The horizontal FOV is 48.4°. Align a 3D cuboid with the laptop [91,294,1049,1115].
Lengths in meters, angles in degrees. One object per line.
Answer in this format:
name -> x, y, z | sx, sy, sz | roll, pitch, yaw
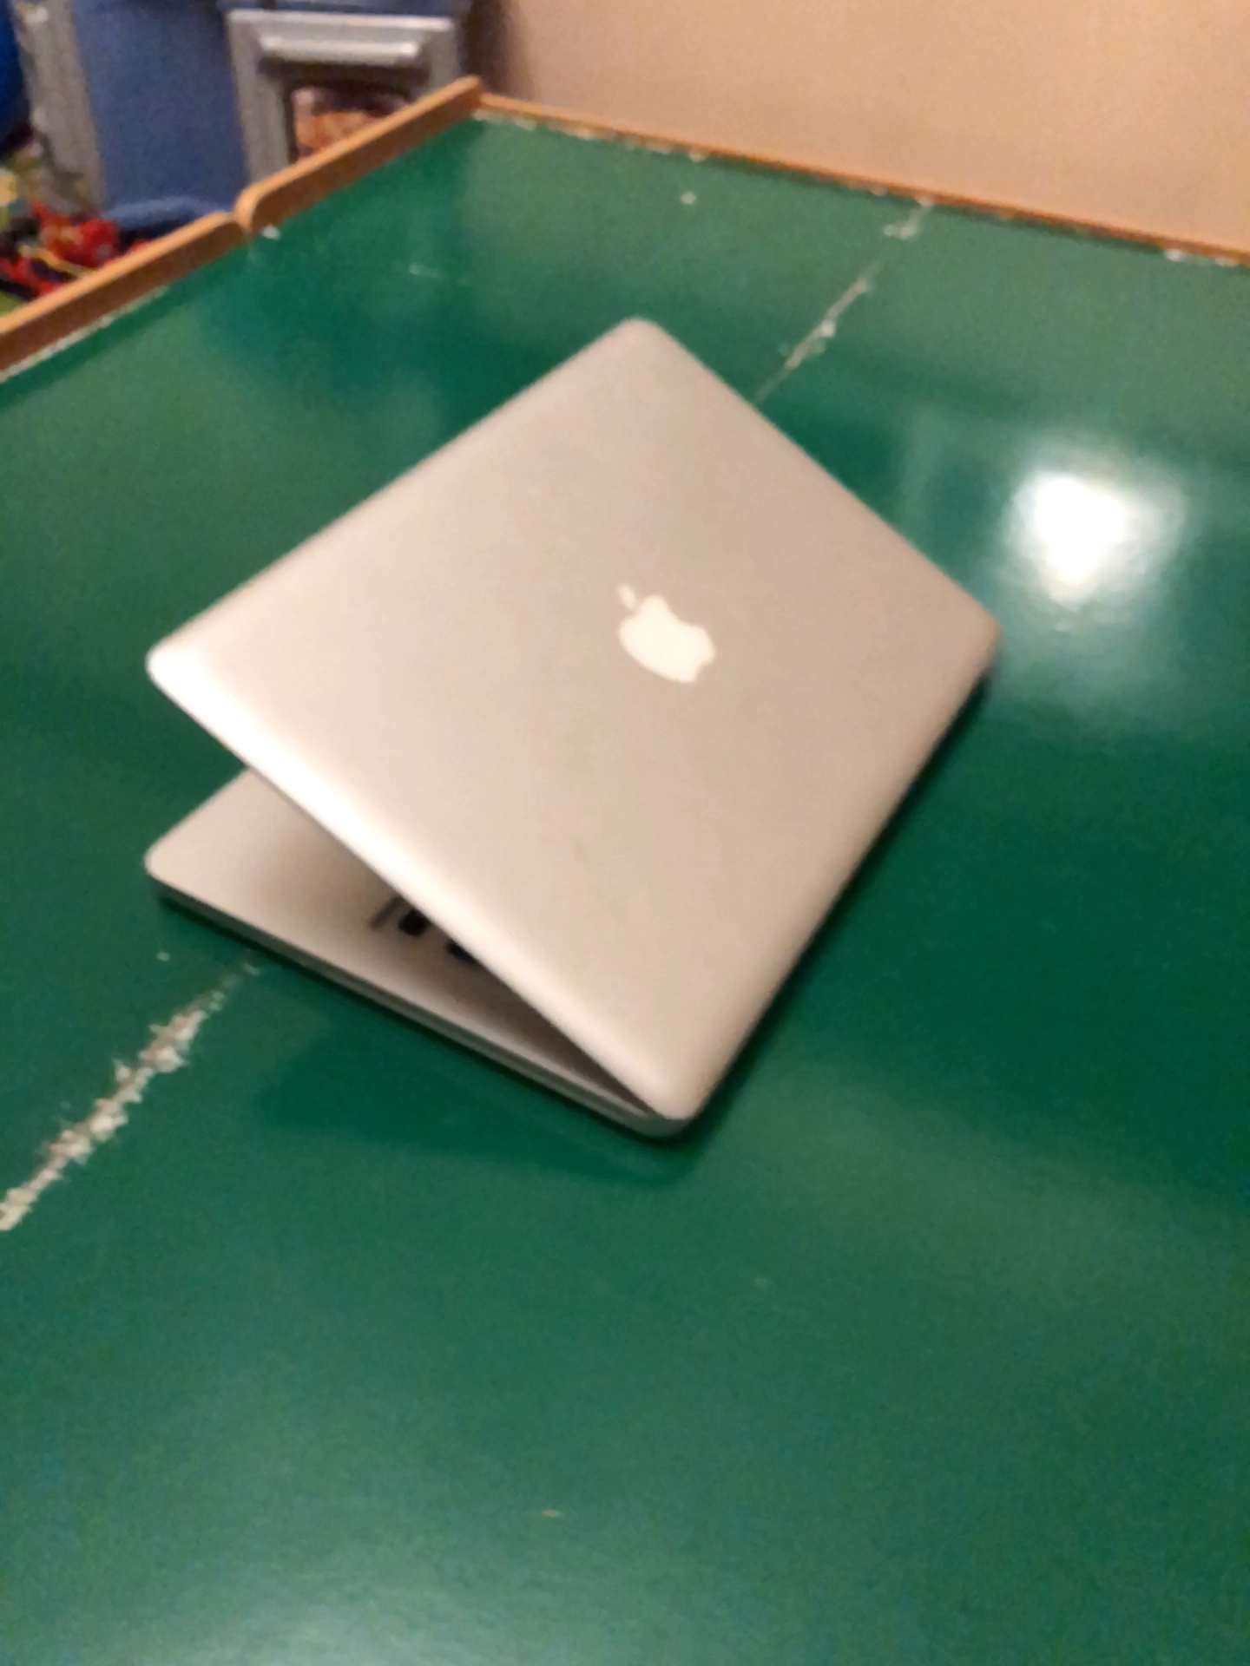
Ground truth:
laptop -> 0.001, -0.079, 0.539 | 0.210, 0.098, 0.316 | 24, 48, 19
